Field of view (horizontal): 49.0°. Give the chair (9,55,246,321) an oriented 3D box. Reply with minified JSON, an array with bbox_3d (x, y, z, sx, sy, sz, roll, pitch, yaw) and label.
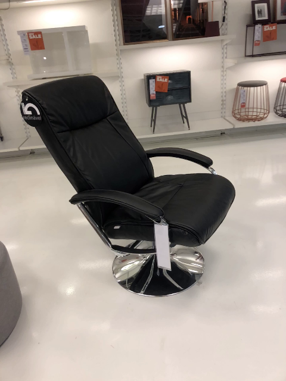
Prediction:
[{"bbox_3d":[0.001,-0.103,1.617,0.802,0.992,0.734,10,29,30],"label":"chair"}]
